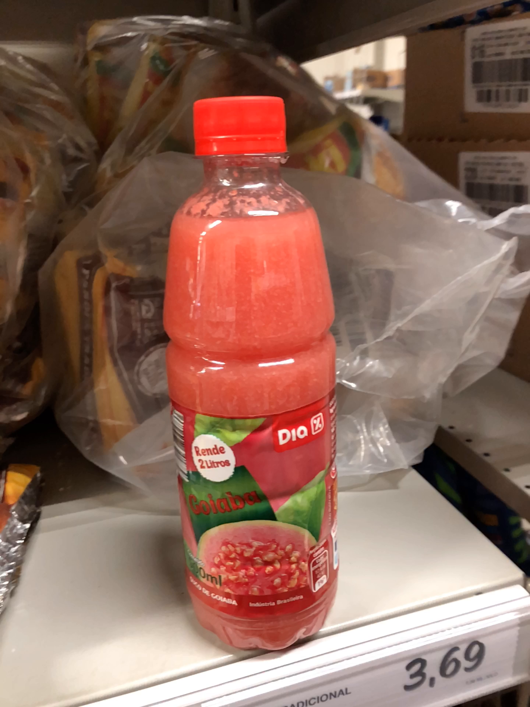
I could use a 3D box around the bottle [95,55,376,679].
[{"bbox_3d":[-0.005,0.007,0.239,0.070,0.219,0.070,-1,20,0],"label":"bottle"}]
